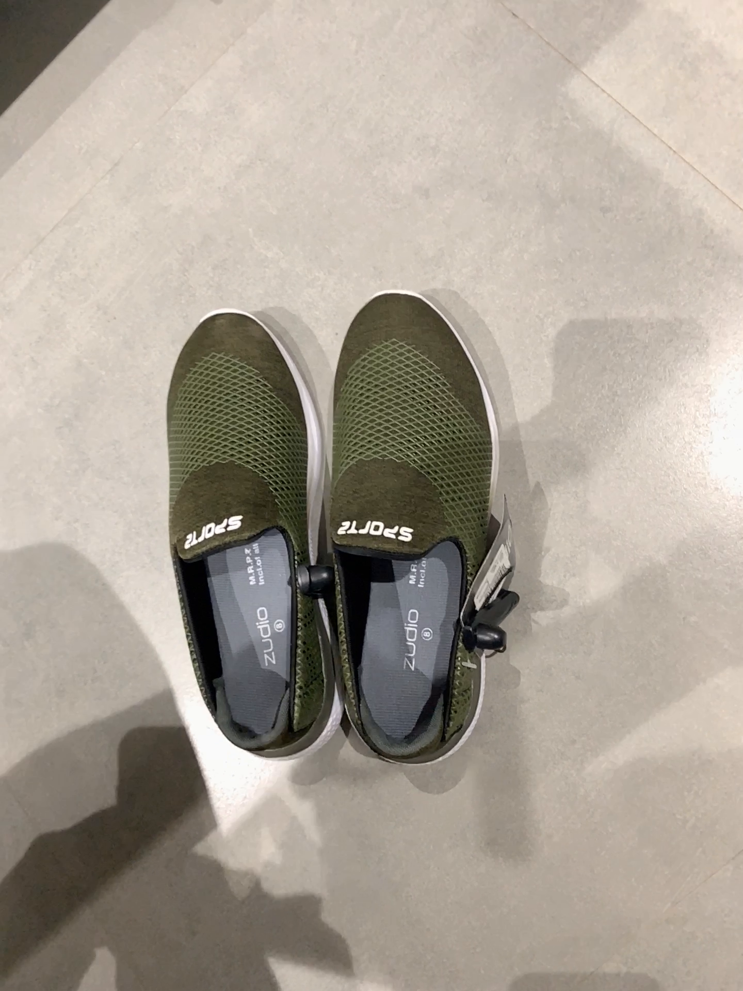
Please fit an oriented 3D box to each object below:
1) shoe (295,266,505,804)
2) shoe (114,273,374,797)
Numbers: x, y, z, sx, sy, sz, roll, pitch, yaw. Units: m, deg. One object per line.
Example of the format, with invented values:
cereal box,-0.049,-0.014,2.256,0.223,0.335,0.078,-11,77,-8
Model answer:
shoe,0.021,0.023,0.455,0.100,0.100,0.280,-3,85,12
shoe,-0.075,0.024,0.473,0.100,0.100,0.280,-9,83,11
